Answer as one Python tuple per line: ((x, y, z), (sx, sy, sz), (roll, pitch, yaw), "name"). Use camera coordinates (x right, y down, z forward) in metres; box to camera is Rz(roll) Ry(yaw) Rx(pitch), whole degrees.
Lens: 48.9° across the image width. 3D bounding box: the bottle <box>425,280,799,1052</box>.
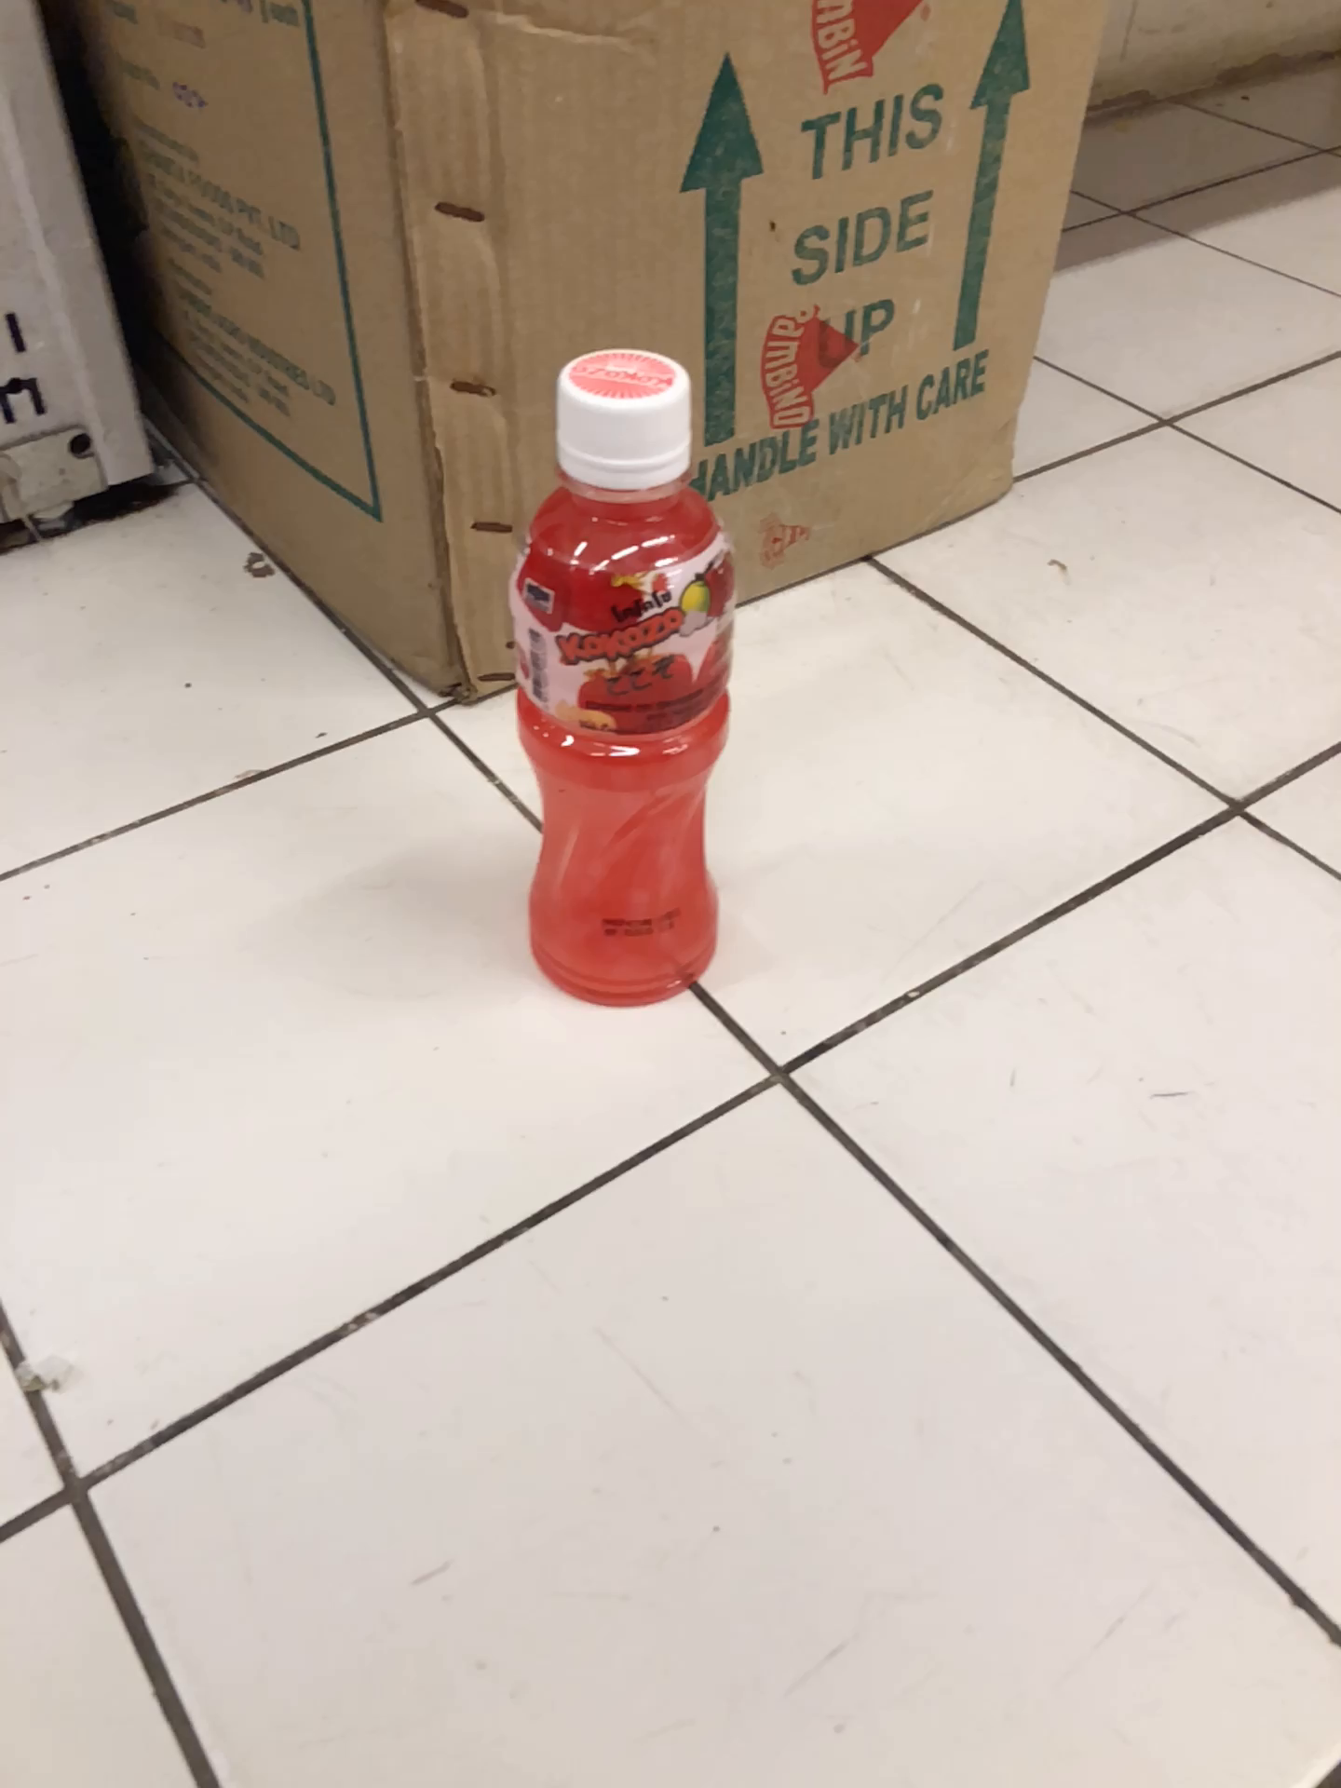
((-0.015, -0.051, 0.390), (0.060, 0.189, 0.060), (1, 44, -1), "bottle")
